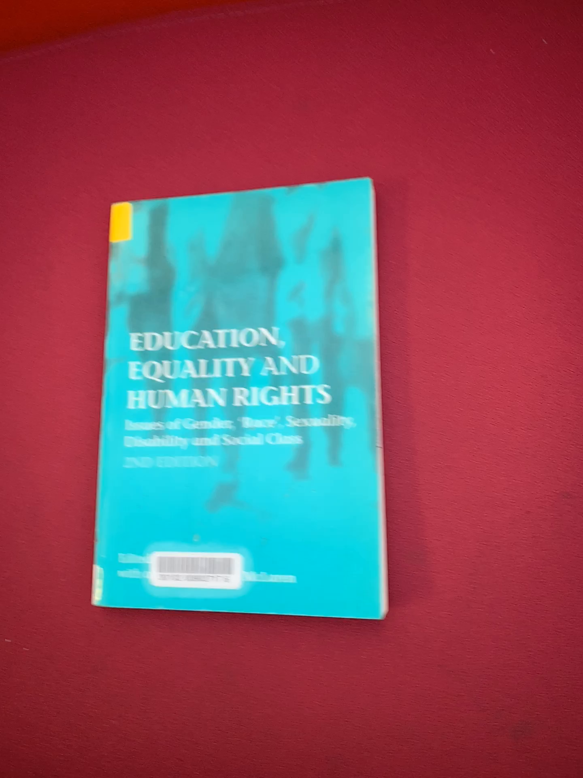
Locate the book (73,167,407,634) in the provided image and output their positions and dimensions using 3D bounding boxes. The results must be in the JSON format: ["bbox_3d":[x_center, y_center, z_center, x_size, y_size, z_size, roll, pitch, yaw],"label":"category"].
[{"bbox_3d":[-0.030,0.004,0.349,0.180,0.030,0.250,-3,79,11],"label":"book"}]
